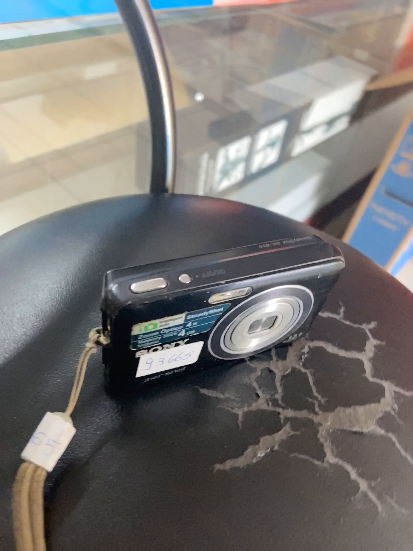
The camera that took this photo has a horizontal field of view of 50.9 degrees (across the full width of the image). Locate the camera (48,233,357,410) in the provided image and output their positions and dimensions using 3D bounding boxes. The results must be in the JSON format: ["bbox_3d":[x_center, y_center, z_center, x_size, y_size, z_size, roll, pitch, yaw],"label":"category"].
[{"bbox_3d":[0.000,0.016,0.170,0.110,0.050,0.020,-10,48,-22],"label":"camera"}]
